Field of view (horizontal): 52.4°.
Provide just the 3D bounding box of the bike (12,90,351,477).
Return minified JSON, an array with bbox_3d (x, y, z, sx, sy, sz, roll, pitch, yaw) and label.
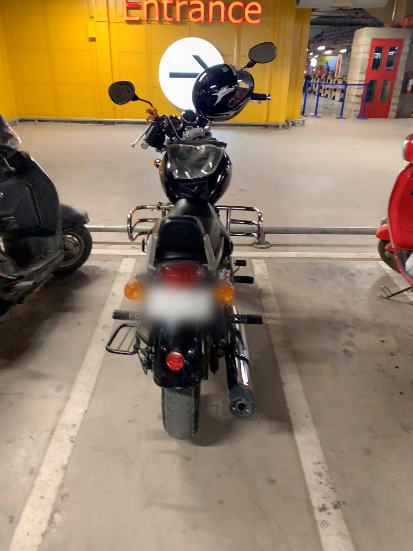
[{"bbox_3d":[-0.153,-0.264,2.230,0.828,1.229,2.086,-1,26,-4],"label":"bike"}]
